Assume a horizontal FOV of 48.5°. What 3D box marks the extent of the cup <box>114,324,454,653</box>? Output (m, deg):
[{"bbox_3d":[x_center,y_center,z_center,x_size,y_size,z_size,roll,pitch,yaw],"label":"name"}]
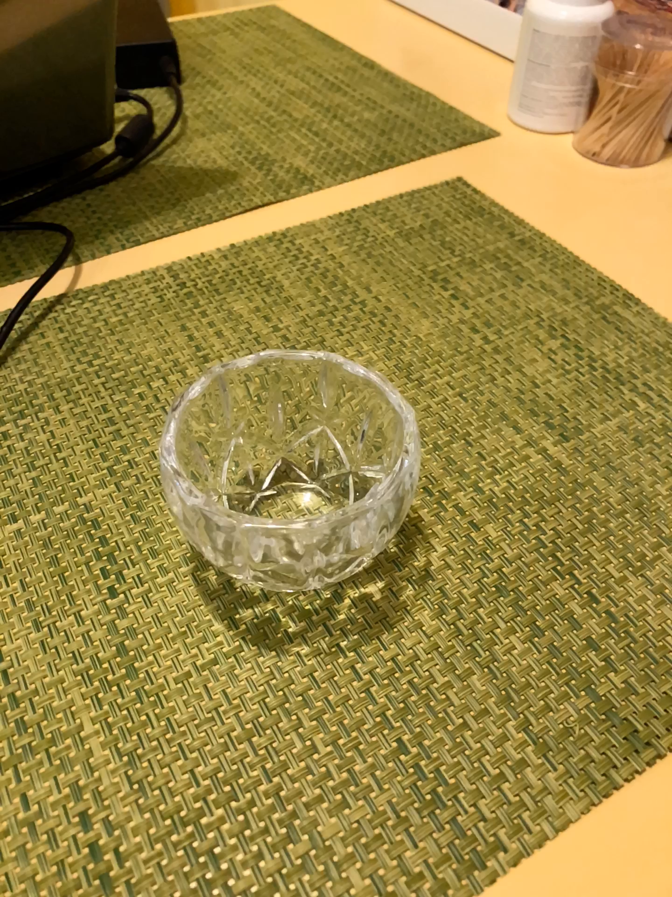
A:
[{"bbox_3d":[-0.018,0.009,0.223,0.080,0.045,0.072,-11,48,-12],"label":"cup"}]
